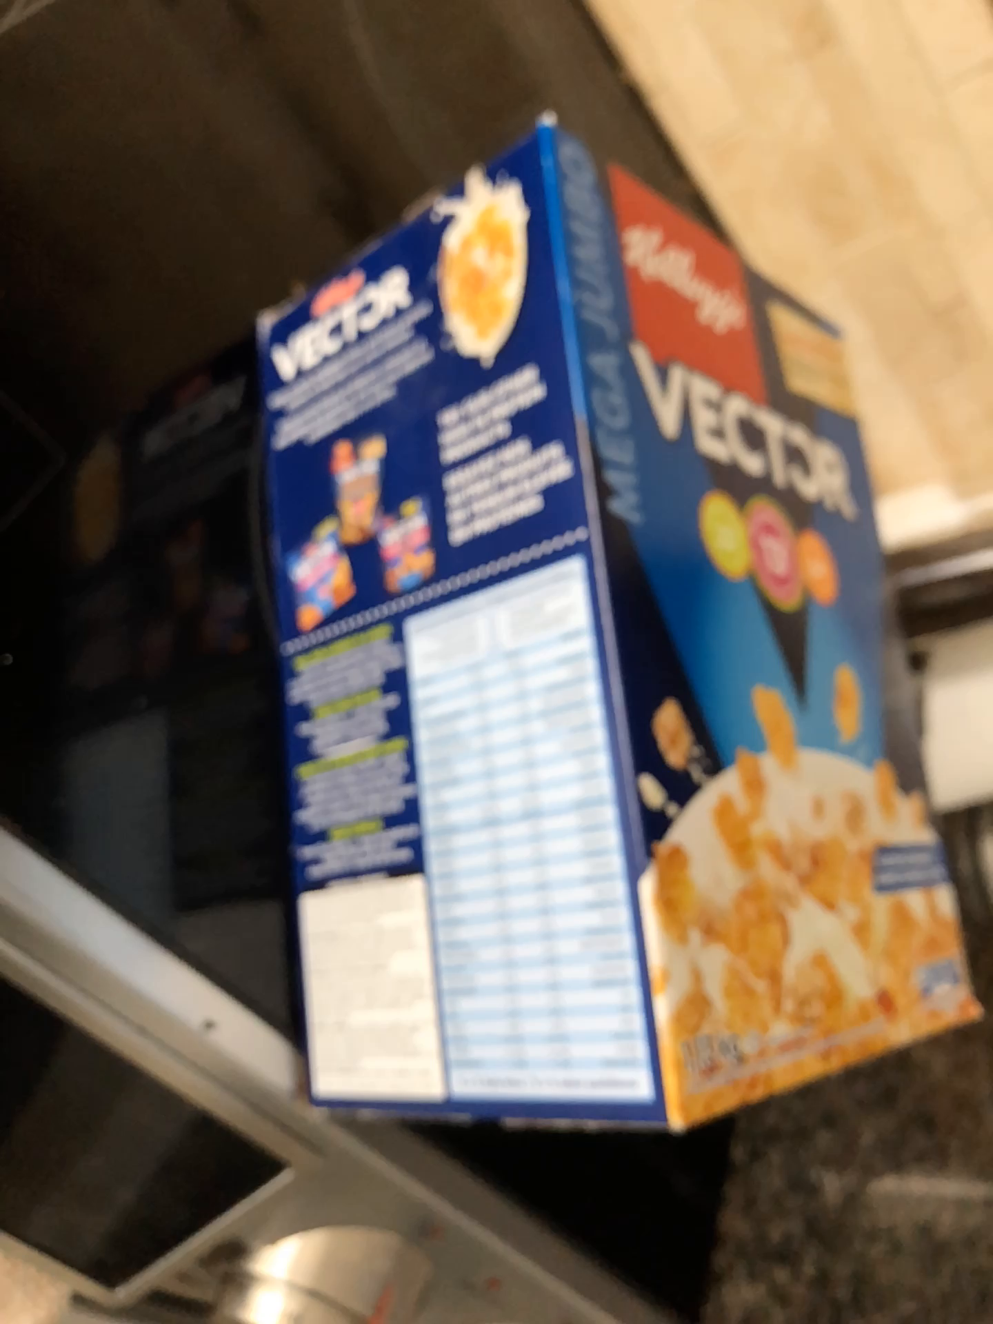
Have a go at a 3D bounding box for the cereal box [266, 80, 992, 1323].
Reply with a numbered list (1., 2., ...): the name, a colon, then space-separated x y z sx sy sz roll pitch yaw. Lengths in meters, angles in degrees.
1. cereal box: 0.061 0.026 0.406 0.221 0.169 0.310 10 73 -48
